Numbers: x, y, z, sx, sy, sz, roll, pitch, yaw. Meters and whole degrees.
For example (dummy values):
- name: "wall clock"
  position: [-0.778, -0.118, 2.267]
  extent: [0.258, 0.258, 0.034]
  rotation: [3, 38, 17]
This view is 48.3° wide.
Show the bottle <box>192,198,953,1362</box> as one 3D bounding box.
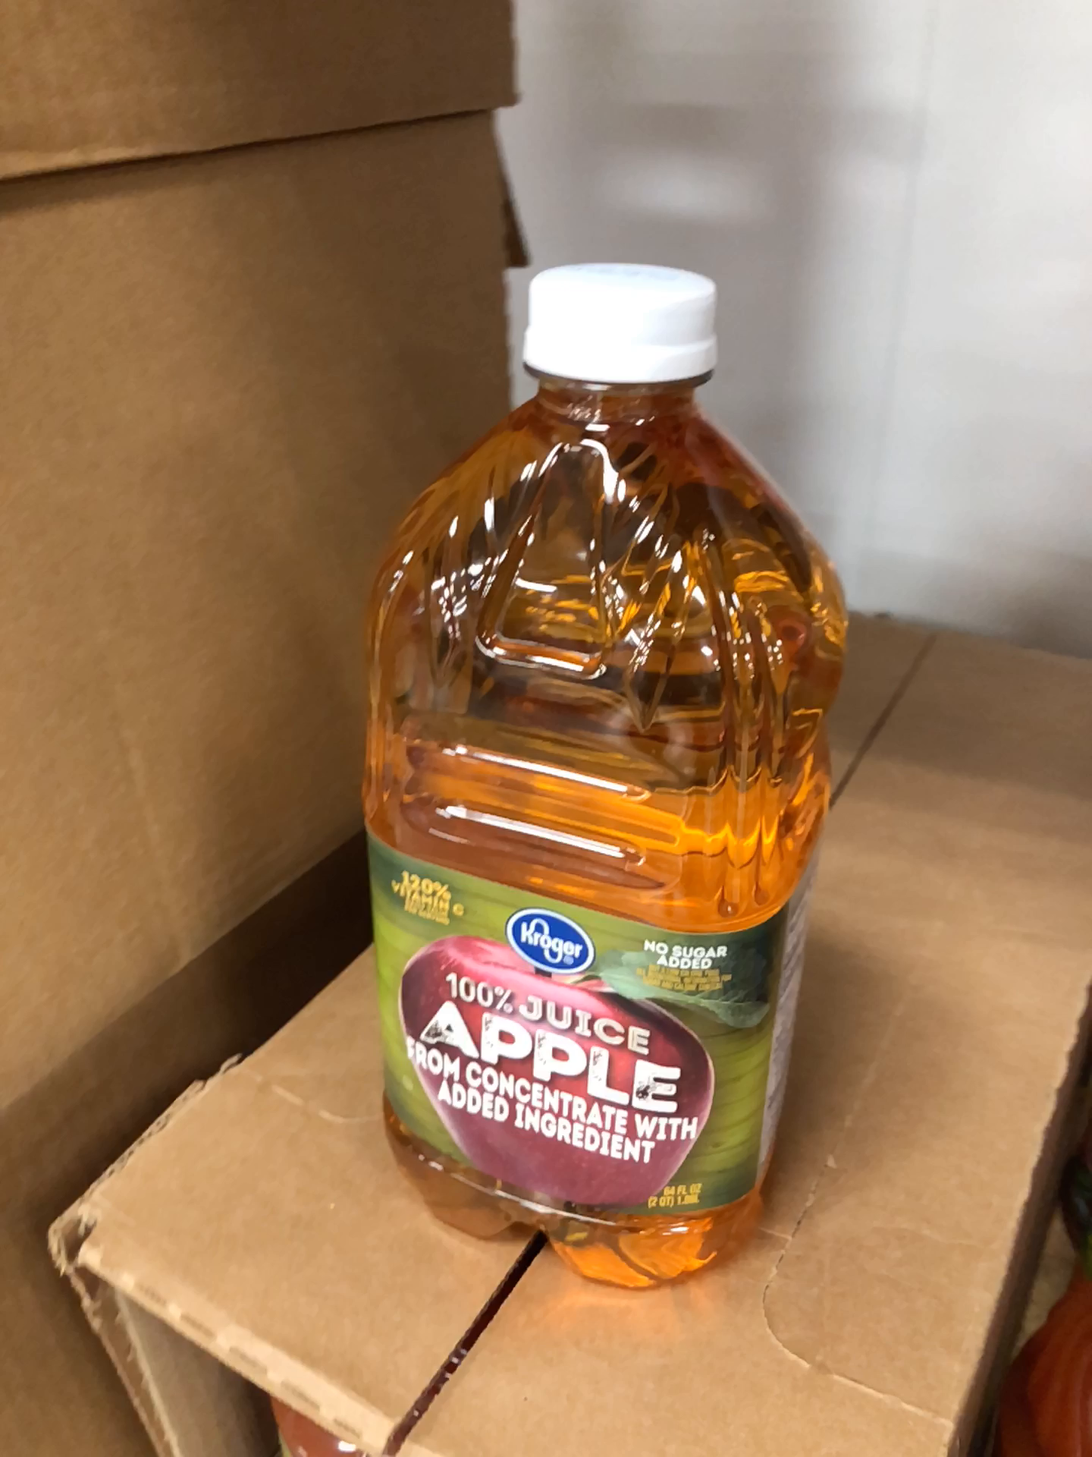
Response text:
- name: "bottle"
  position: [0.015, 0.016, 0.306]
  extent: [0.120, 0.259, 0.100]
  rotation: [11, 34, 21]
